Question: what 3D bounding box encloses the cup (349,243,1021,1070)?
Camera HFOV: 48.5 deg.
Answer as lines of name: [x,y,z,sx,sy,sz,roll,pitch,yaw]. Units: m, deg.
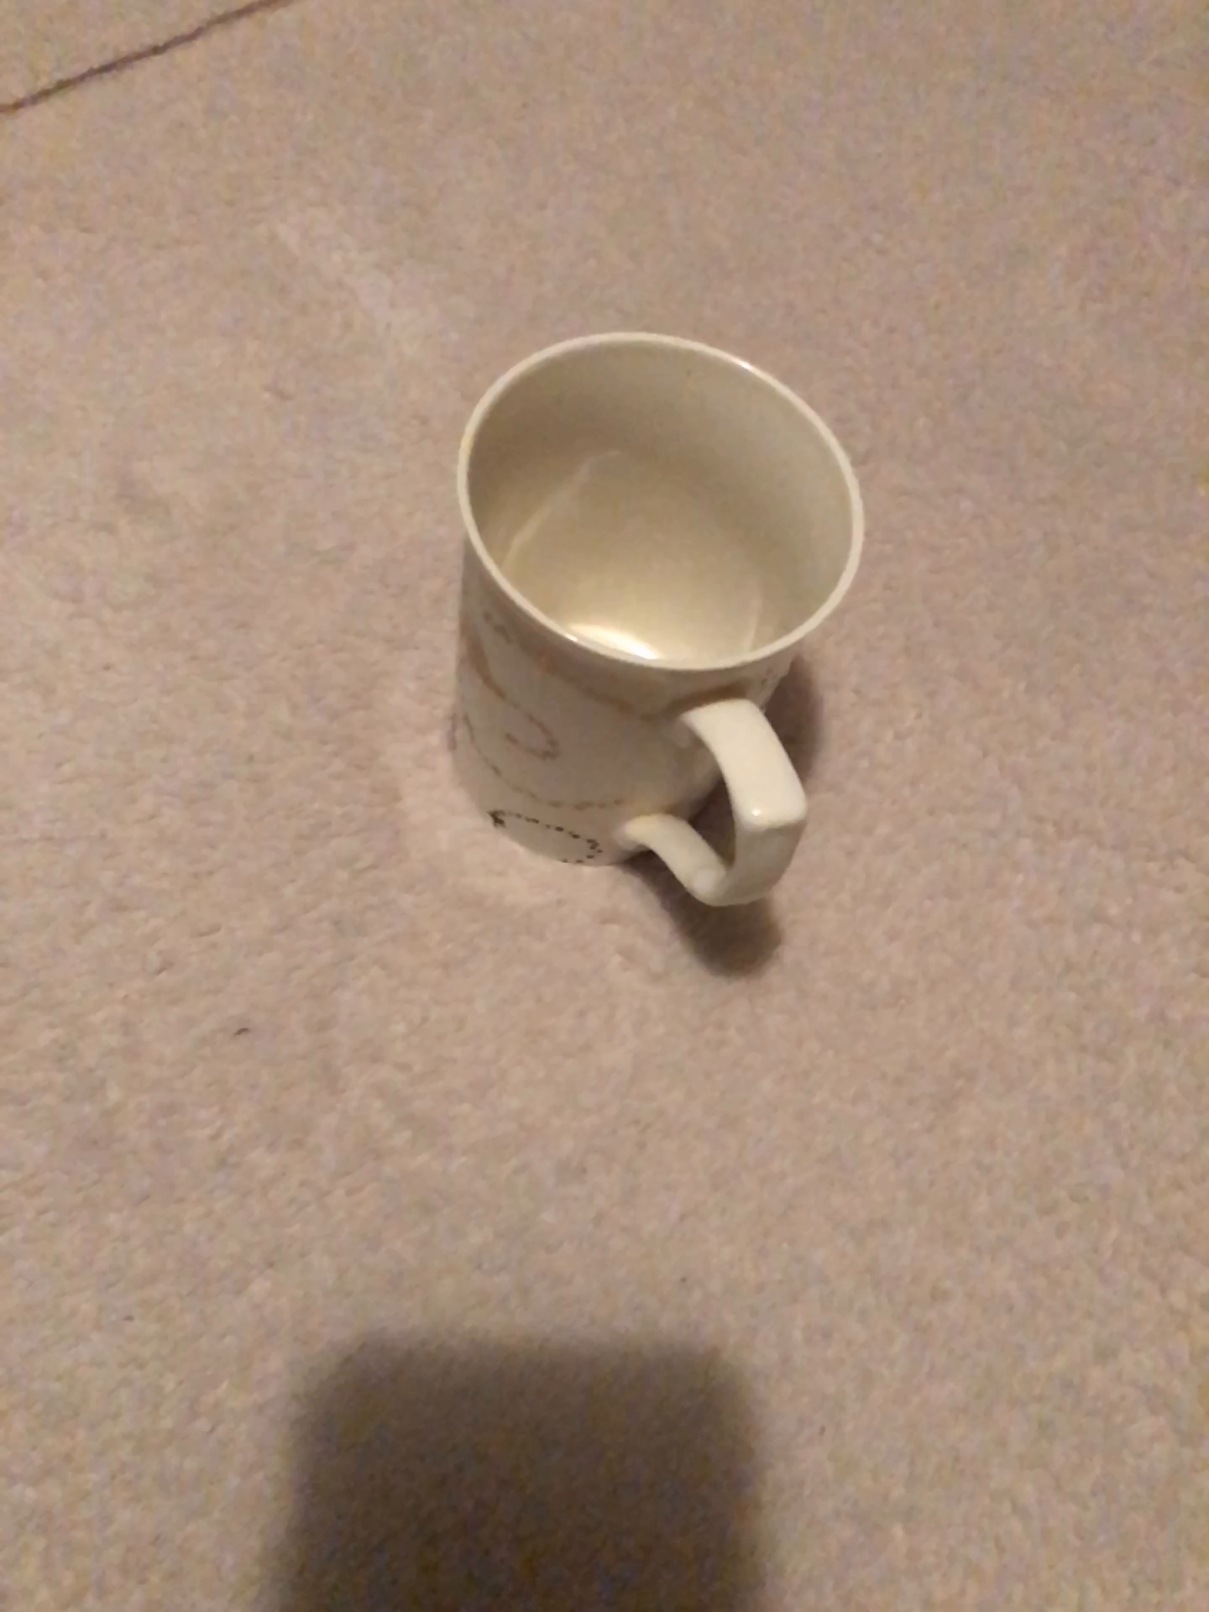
cup: [0.005,-0.026,0.277,0.073,0.110,0.112,-20,67,-16]
